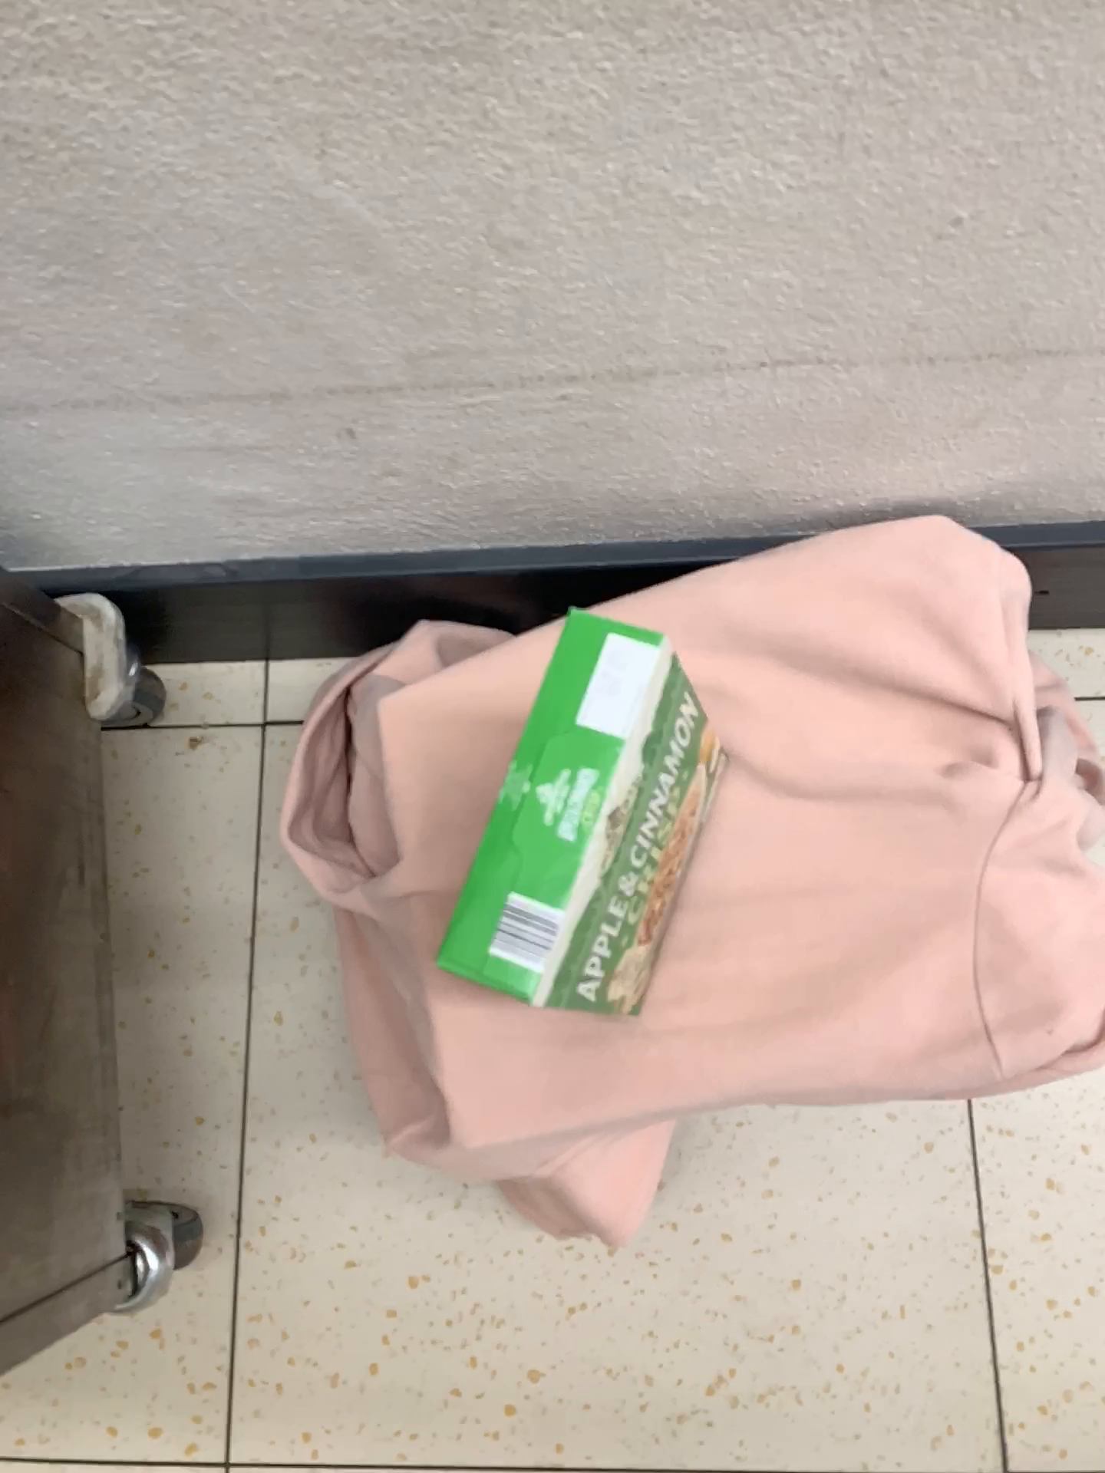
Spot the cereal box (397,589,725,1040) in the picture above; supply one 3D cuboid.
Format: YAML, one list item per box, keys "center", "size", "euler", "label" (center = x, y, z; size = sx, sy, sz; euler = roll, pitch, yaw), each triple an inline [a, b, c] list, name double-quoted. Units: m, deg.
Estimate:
- center: [0.024, 0.061, 0.608]
  size: [0.060, 0.259, 0.190]
  euler: [18, 80, 17]
  label: "cereal box"
